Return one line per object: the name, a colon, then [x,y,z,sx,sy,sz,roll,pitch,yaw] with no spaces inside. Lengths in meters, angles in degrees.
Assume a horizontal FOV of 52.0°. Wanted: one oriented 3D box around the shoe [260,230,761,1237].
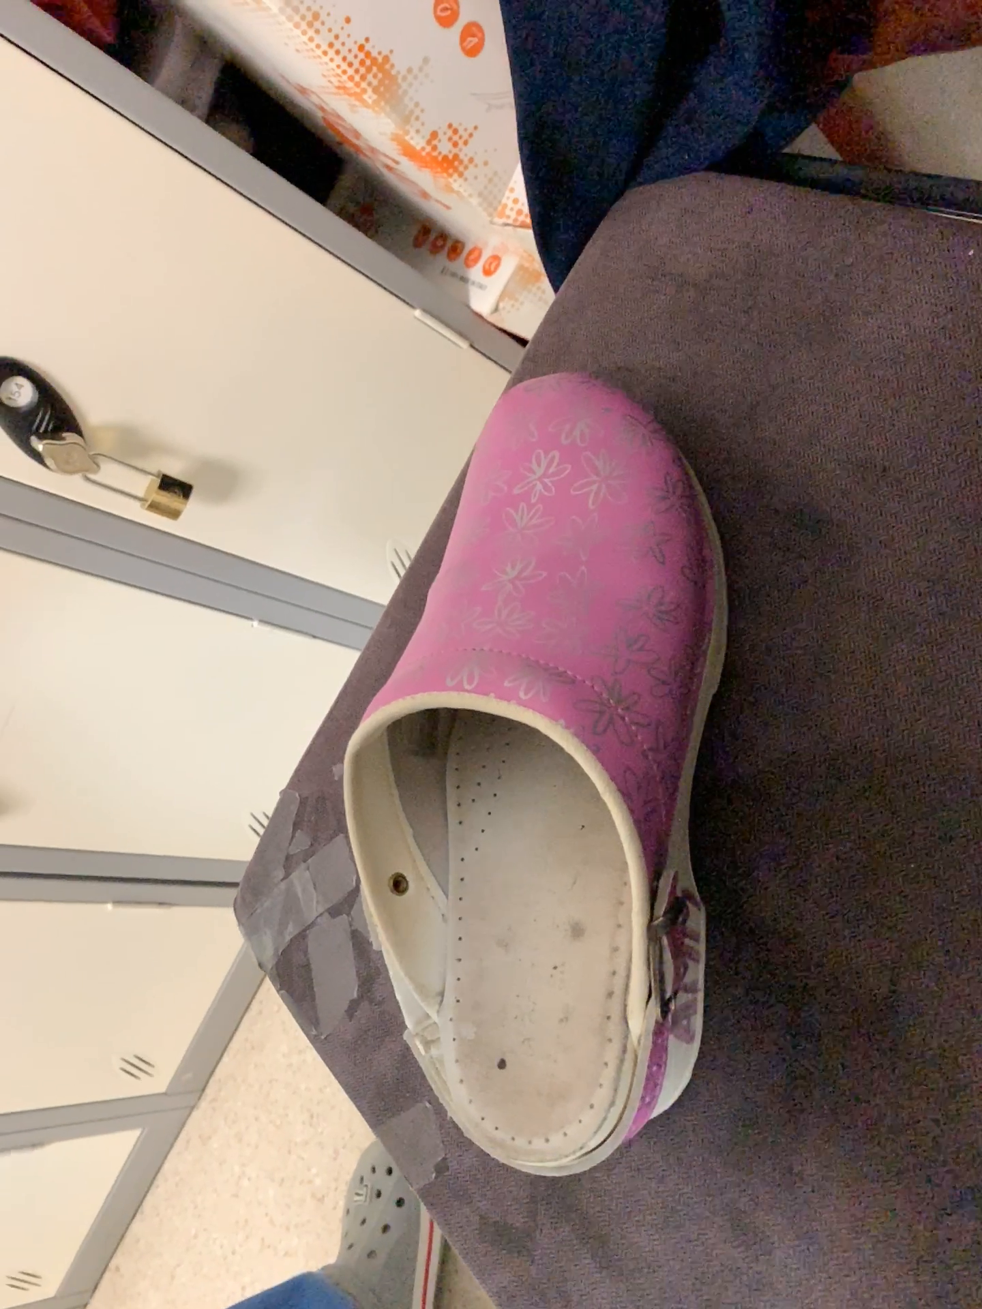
shoe: [0.008,0.018,0.288,0.100,0.079,0.230,-11,71,39]
